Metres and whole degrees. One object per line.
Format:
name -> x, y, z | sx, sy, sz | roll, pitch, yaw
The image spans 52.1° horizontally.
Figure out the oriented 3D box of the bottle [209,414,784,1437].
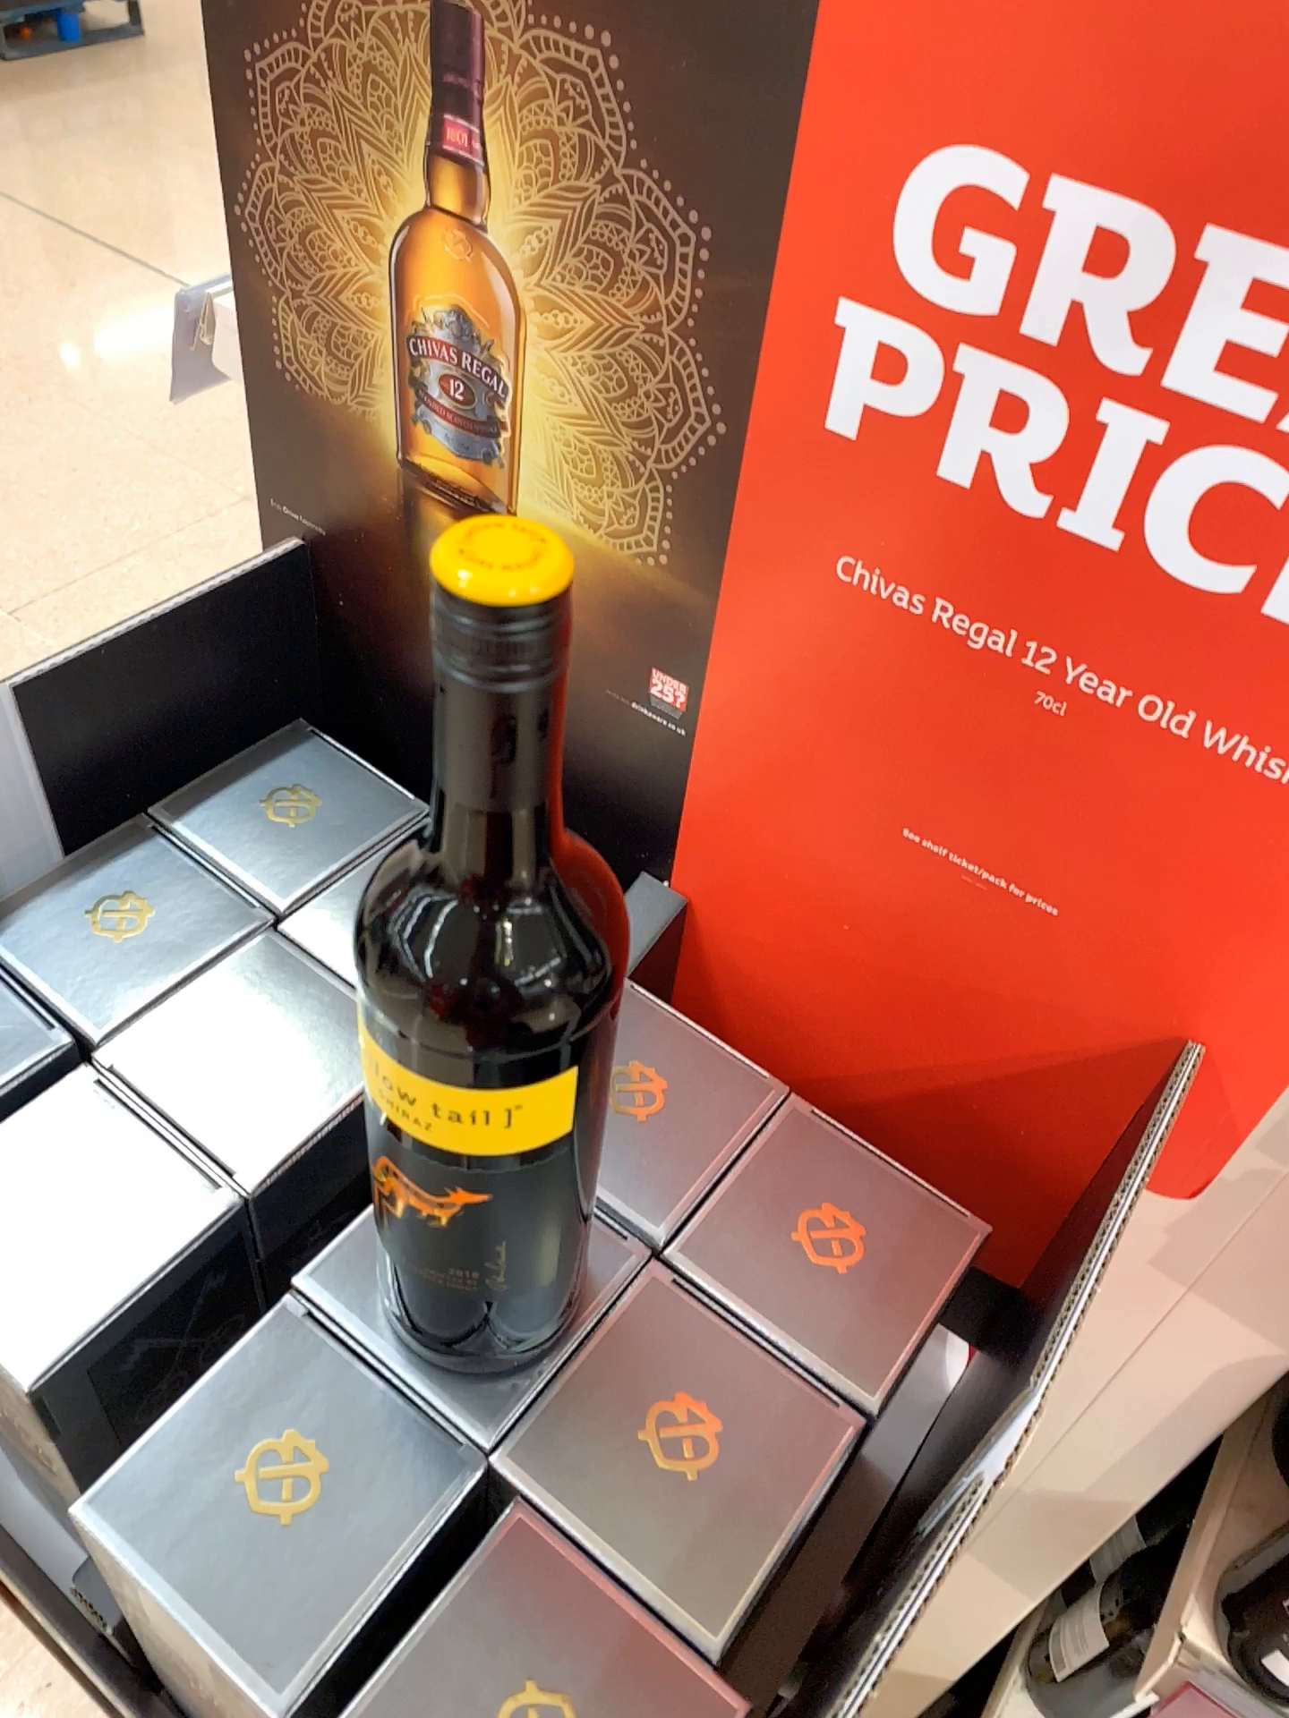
bottle -> -0.042, 0.046, 0.366 | 0.077, 0.304, 0.081 | 4, 46, -4
